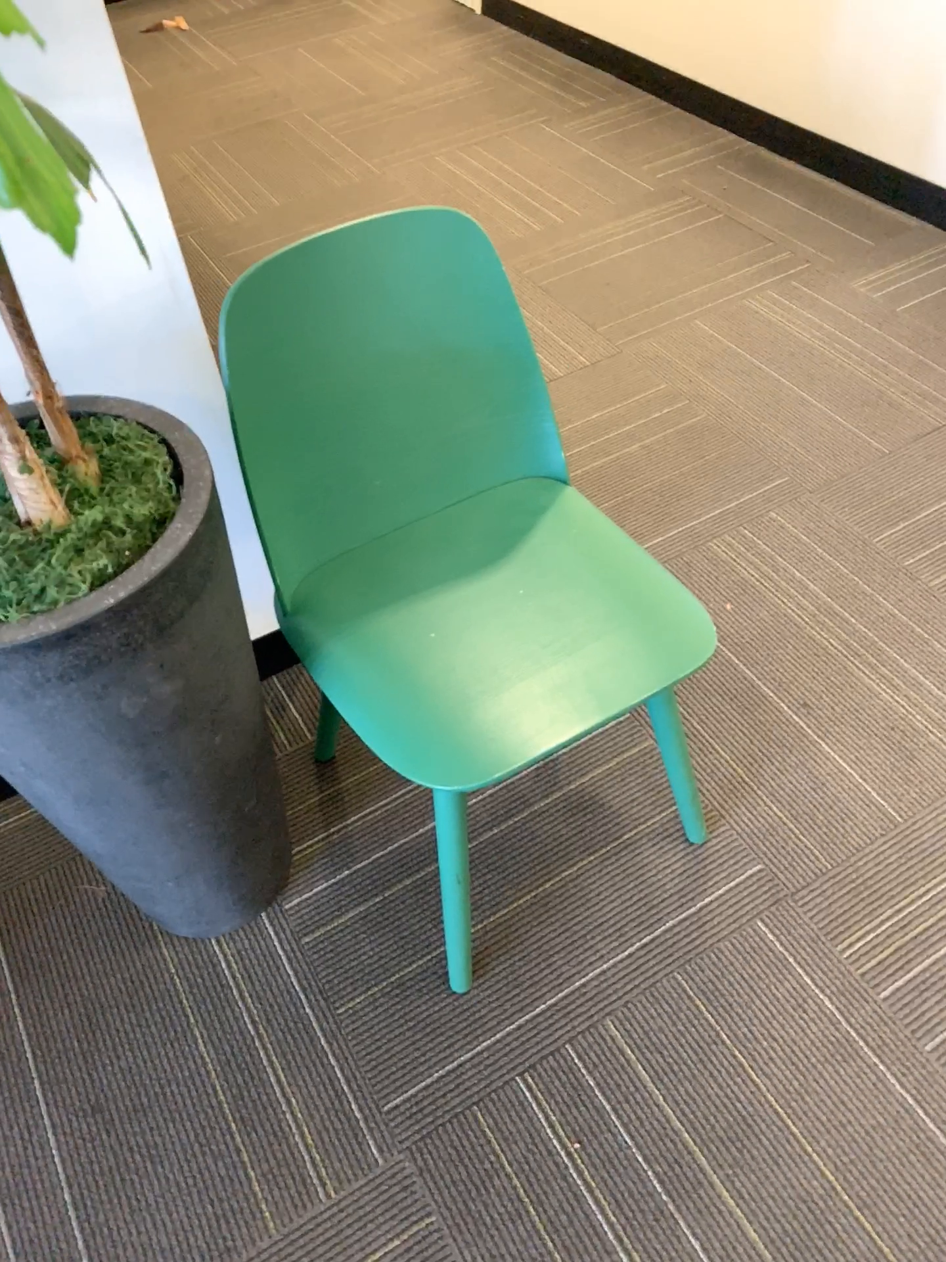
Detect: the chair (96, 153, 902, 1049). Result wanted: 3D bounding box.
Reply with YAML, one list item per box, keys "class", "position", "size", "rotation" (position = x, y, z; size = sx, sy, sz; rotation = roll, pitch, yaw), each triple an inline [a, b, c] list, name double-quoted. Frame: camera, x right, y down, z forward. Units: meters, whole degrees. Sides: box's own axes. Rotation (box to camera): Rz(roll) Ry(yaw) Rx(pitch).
- class: "chair"
  position: [0.005, -0.024, 1.160]
  size: [0.500, 0.746, 0.603]
  rotation: [-26, 51, -17]
